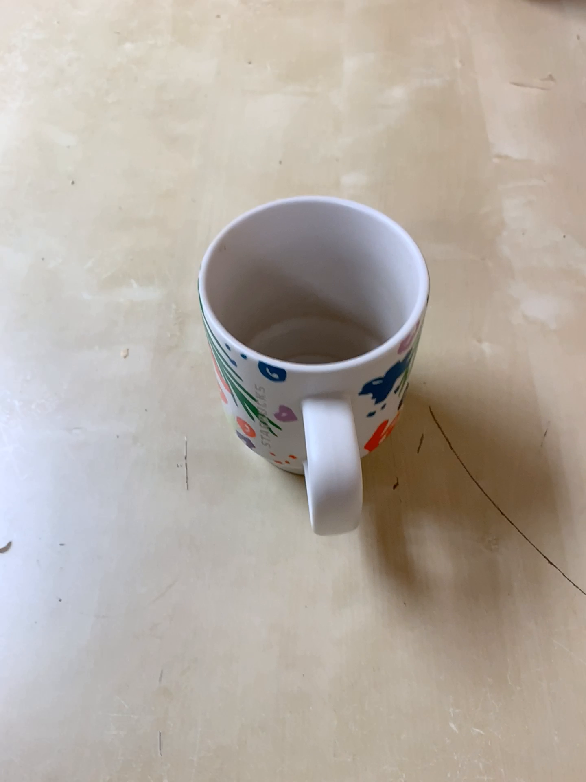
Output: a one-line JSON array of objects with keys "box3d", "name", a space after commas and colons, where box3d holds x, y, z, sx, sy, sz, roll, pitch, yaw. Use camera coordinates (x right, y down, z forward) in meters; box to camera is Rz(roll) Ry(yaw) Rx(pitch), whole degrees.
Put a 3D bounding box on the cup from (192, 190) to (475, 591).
[{"box3d": [0.009, 0.001, 0.248, 0.081, 0.095, 0.128, -4, 57, -1], "name": "cup"}]
